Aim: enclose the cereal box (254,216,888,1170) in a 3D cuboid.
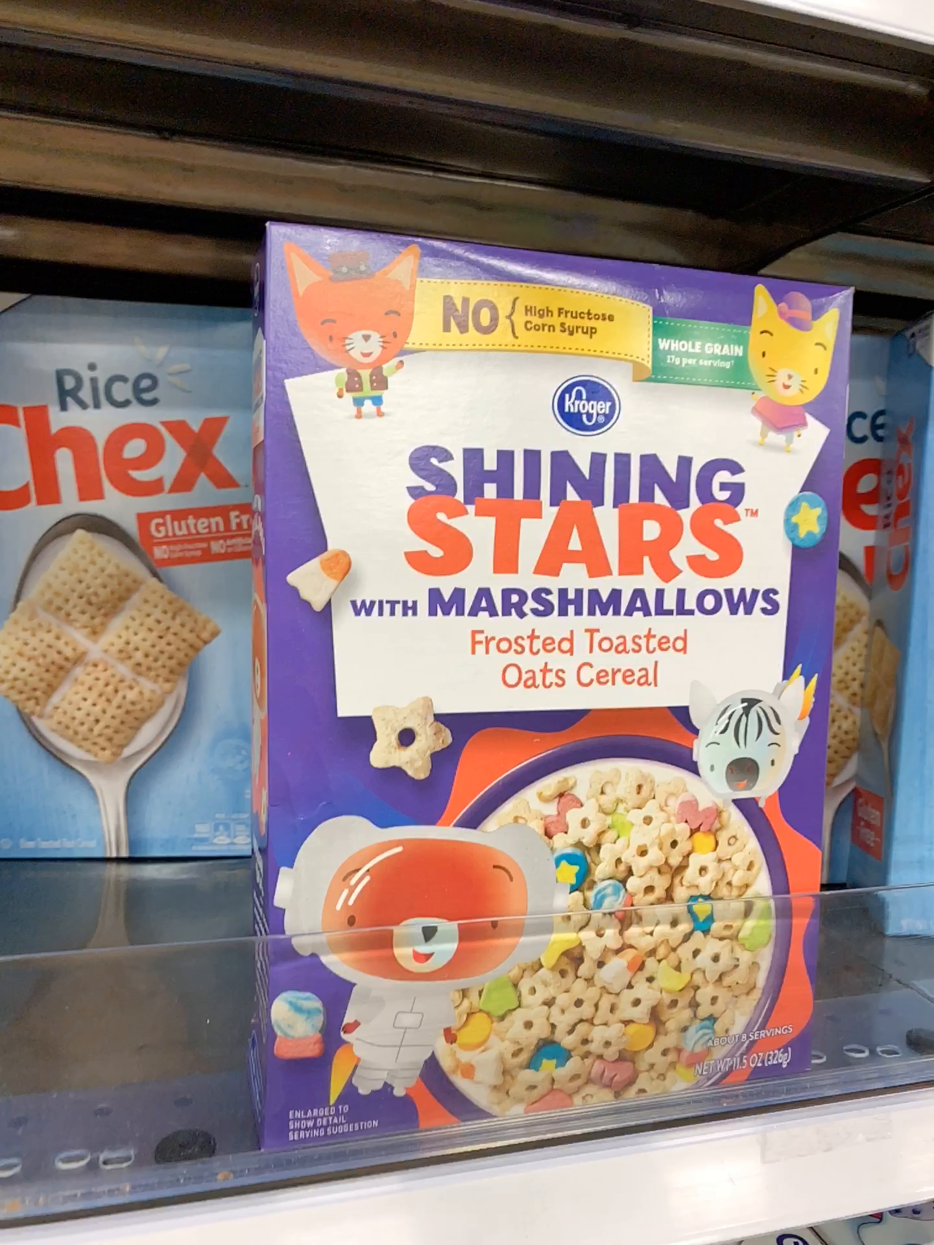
[{"bbox_3d":[0.033,0.022,0.324,0.200,0.270,0.050,-1,6,-18],"label":"cereal box"}]
